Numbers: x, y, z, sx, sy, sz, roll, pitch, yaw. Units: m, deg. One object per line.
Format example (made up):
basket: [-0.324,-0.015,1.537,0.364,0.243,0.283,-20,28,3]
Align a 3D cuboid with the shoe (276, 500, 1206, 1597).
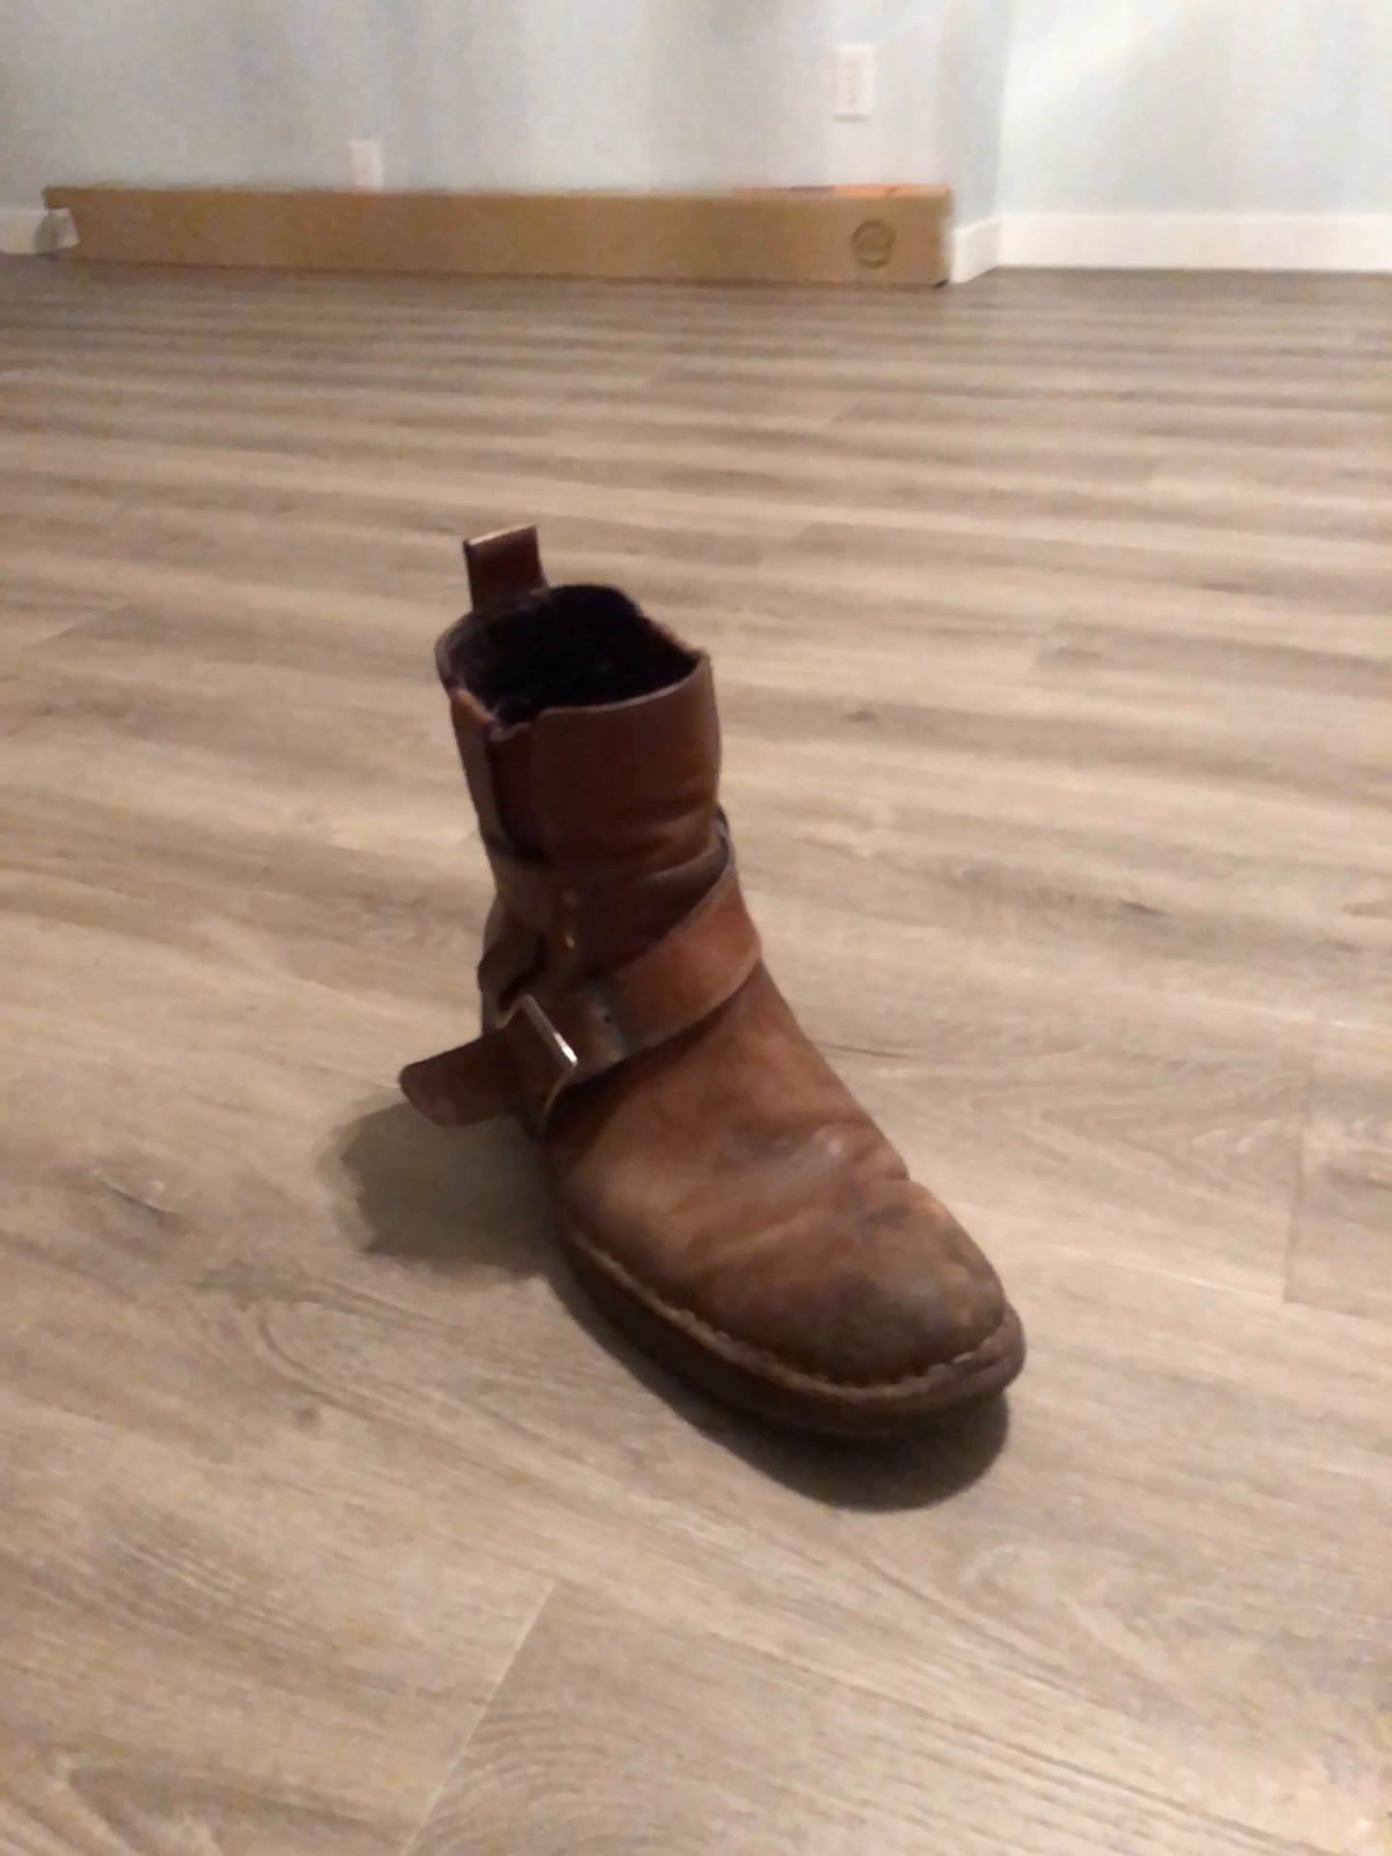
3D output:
shoe: [-0.009,0.006,0.487,0.130,0.209,0.291,-17,32,-26]
